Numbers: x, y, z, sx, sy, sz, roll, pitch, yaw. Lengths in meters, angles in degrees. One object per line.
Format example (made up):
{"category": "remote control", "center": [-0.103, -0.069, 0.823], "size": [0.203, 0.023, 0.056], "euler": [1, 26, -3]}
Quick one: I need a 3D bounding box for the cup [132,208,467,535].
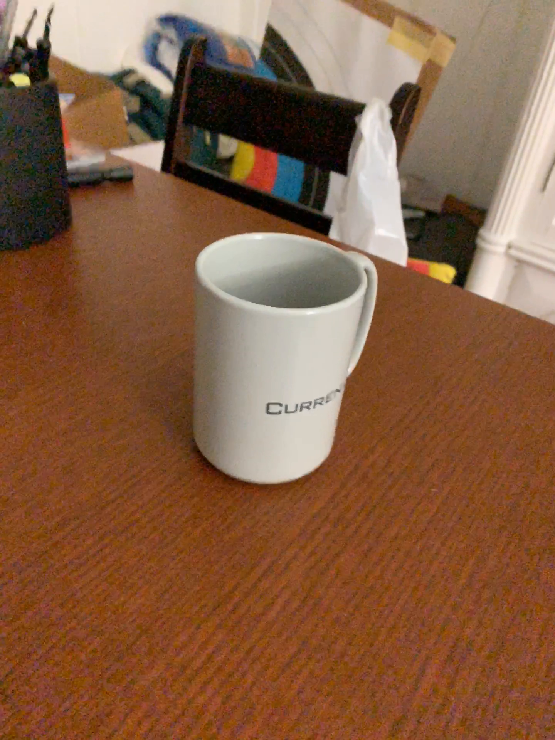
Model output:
{"category": "cup", "center": [0.009, -0.009, 0.323], "size": [0.140, 0.109, 0.100], "euler": [-23, 45, -34]}
